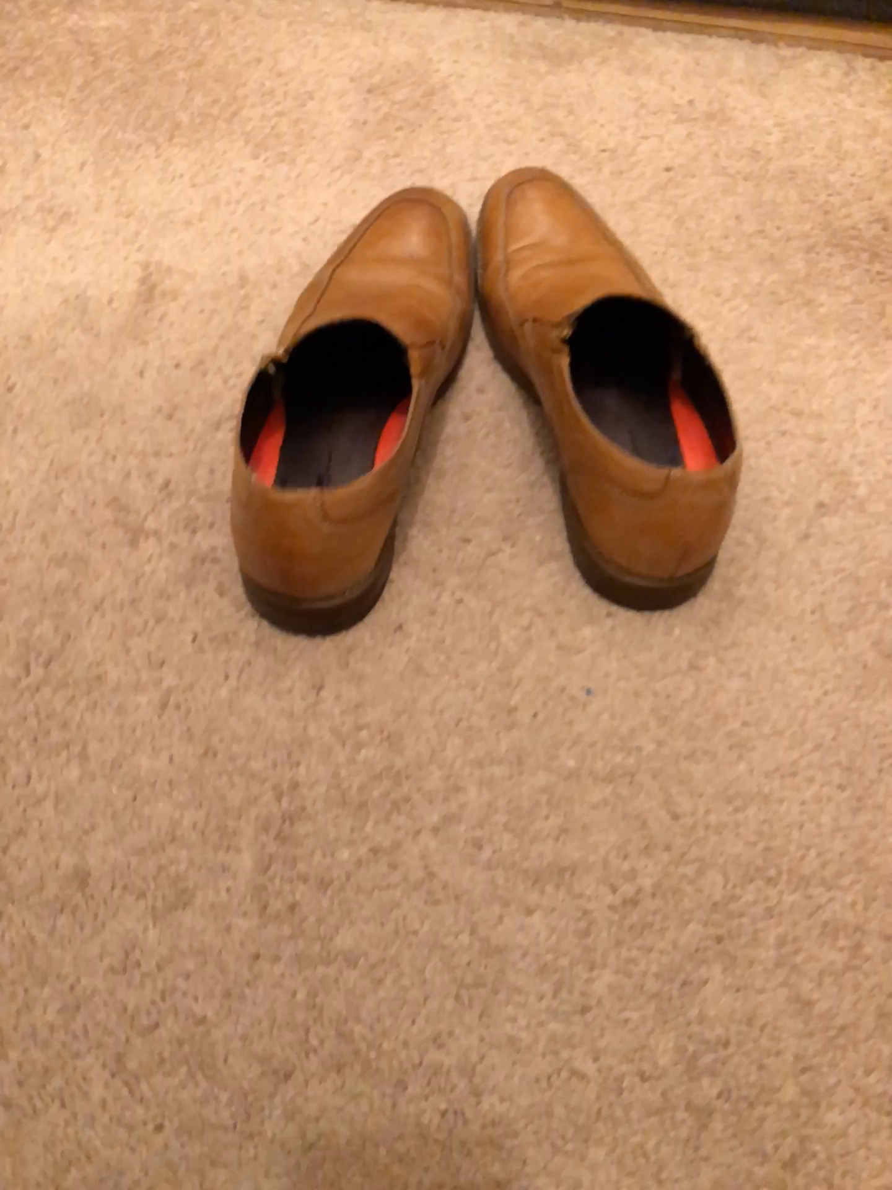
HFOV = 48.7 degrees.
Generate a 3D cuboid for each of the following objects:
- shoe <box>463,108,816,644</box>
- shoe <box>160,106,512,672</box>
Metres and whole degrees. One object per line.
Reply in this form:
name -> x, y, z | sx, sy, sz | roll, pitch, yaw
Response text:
shoe -> 0.086, -0.135, 0.544 | 0.107, 0.089, 0.312 | -6, 57, -4
shoe -> -0.042, -0.127, 0.534 | 0.100, 0.090, 0.322 | 10, 57, 5
